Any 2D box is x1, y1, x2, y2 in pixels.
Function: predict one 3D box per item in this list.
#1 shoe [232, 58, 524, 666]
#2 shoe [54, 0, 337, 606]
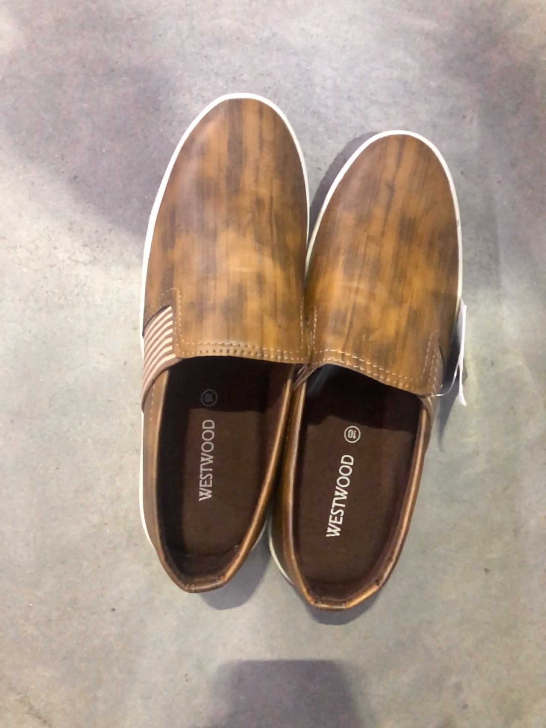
[{"bbox_3d":[0.059,-0.005,0.369,0.110,0.100,0.310,10,83,0],"label":"shoe"},{"bbox_3d":[-0.033,-0.036,0.331,0.110,0.100,0.290,4,83,-1],"label":"shoe"}]
